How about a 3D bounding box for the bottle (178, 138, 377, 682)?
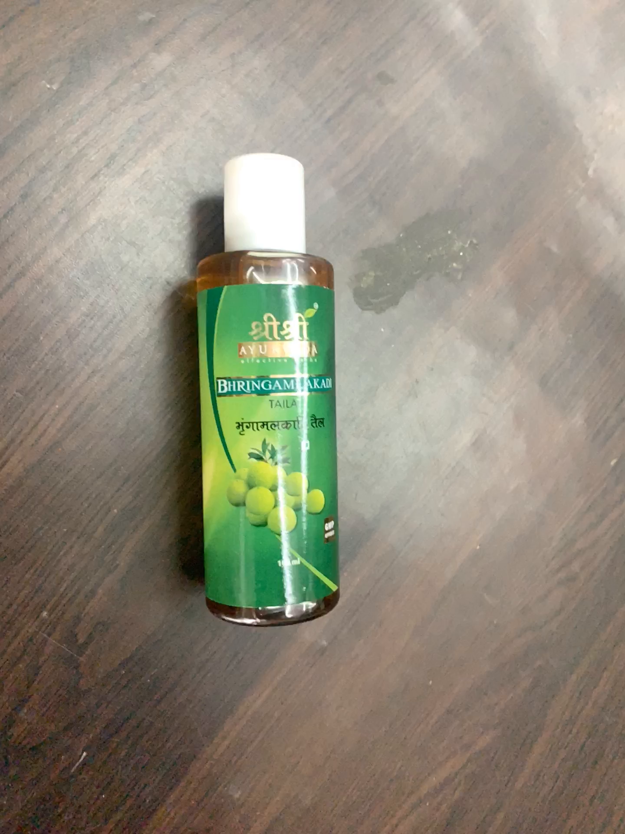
[{"bbox_3d":[-0.011,-0.002,0.170,0.040,0.040,0.120,-2,92,-19],"label":"bottle"}]
